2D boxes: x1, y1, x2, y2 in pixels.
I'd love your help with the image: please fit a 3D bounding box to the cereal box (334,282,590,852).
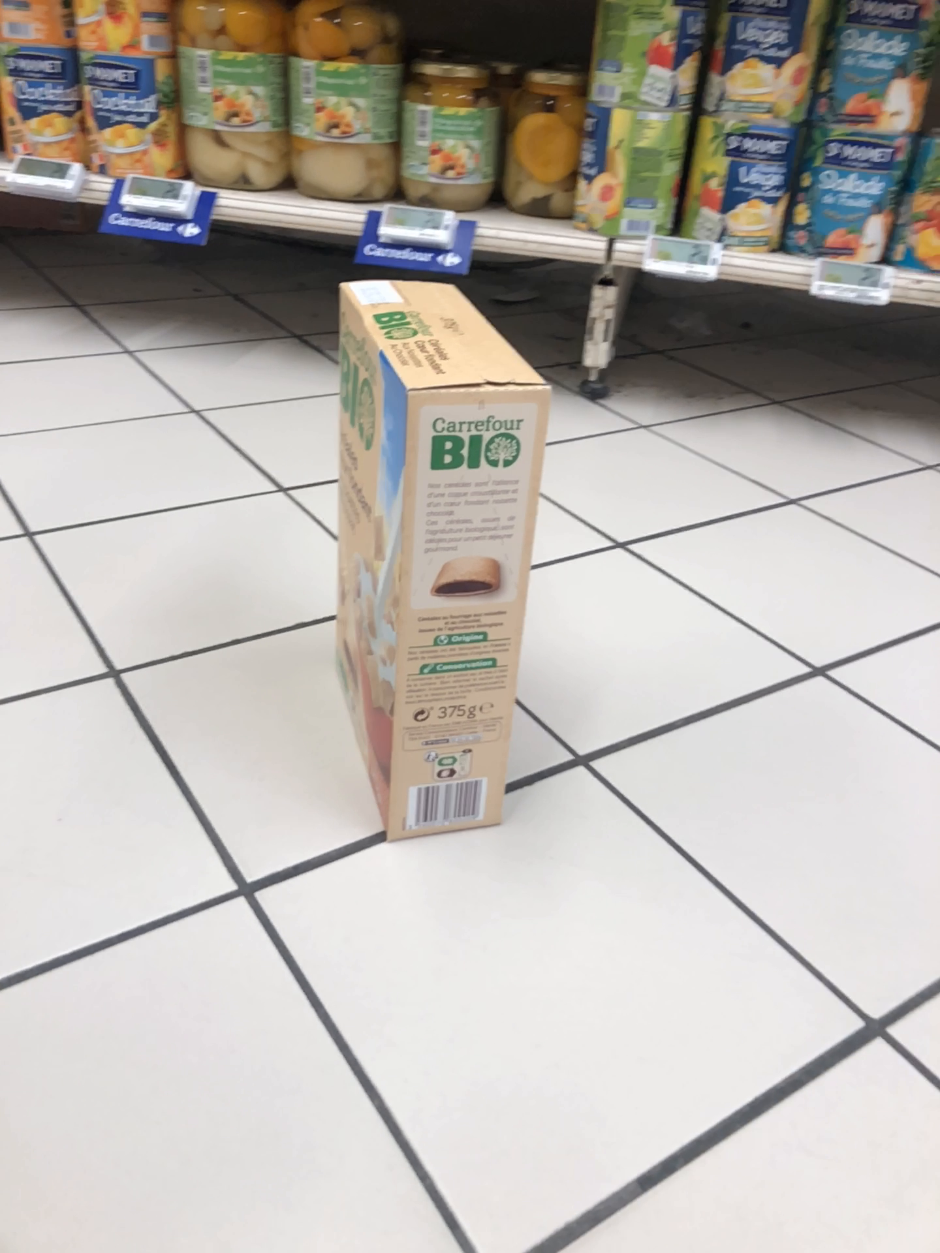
[{"bbox_3d":[-0.019,-0.035,0.521,0.070,0.229,0.171,-4,31,-16],"label":"cereal box"}]
